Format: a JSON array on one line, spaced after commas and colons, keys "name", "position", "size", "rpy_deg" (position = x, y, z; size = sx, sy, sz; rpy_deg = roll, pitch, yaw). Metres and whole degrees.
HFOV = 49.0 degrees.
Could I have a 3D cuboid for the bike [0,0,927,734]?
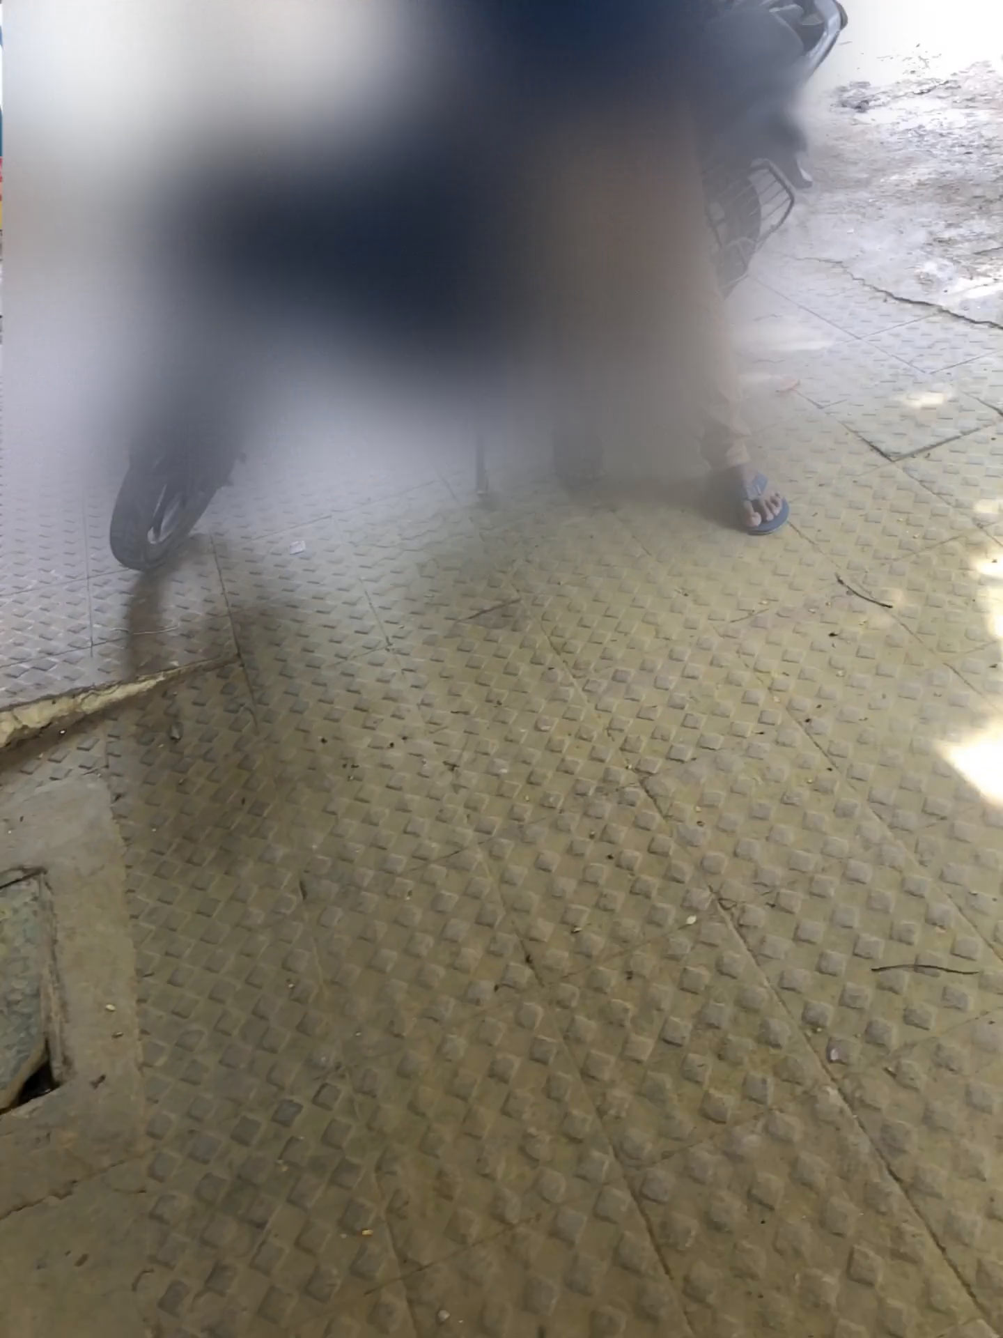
[{"name": "bike", "position": [-0.052, -0.913, 2.332], "size": [1.747, 1.175, 0.786], "rpy_deg": [-31, 43, -17]}]
